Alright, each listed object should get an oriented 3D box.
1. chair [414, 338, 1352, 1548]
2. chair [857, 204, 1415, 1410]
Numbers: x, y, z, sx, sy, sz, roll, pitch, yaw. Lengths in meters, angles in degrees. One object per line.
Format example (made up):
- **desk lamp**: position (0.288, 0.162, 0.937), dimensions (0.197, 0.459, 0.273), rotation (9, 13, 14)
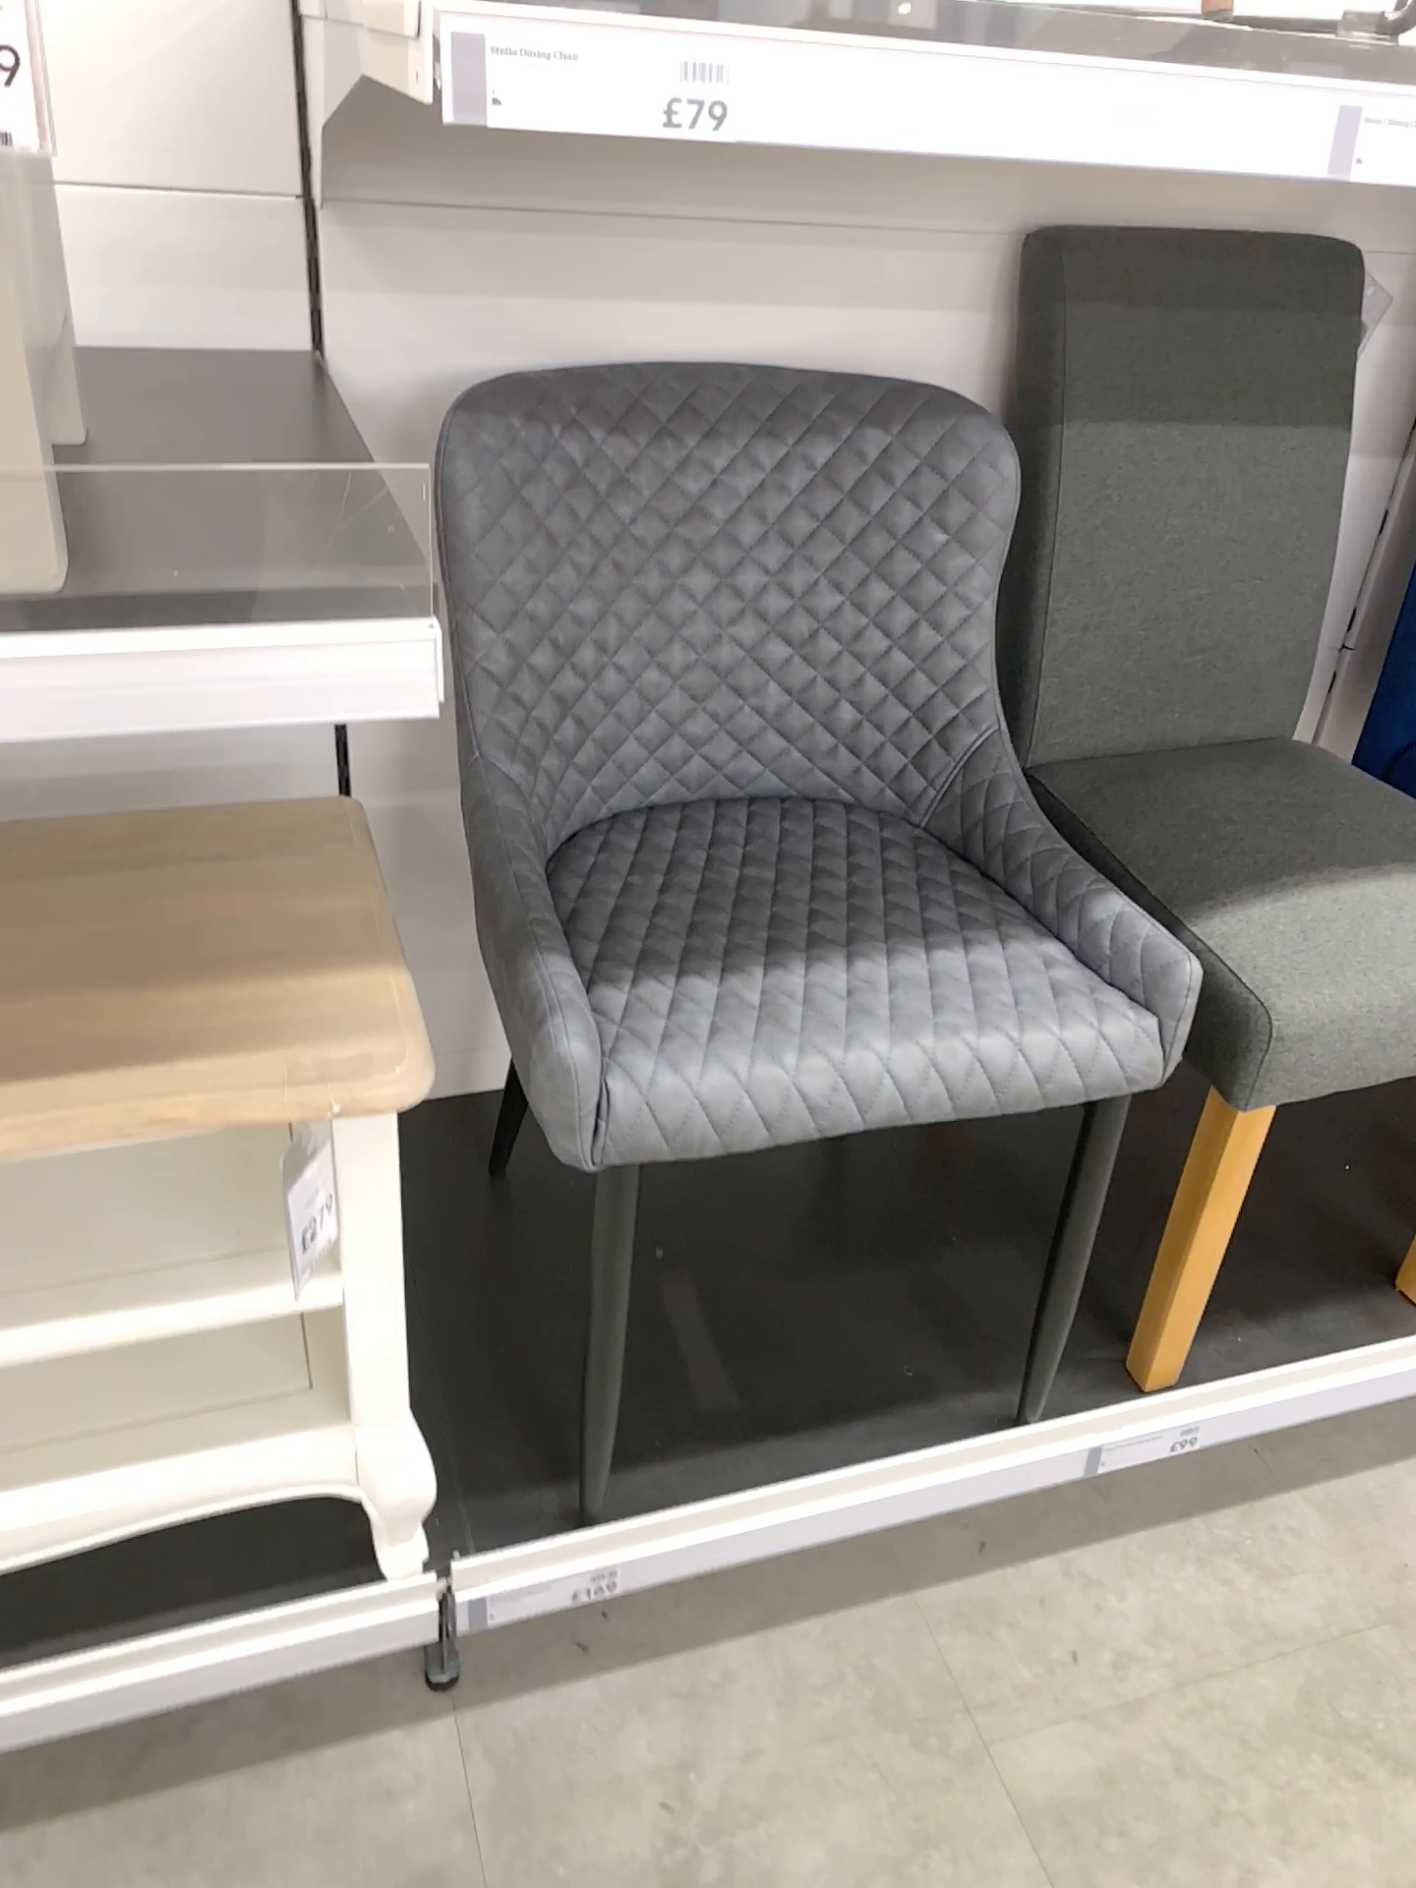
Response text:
- **chair**: position (0.046, -0.031, 1.221), dimensions (0.480, 0.793, 0.545), rotation (-6, 33, -18)
- **chair**: position (0.509, -0.141, 1.355), dimensions (0.430, 0.911, 0.565), rotation (-7, 33, -18)
